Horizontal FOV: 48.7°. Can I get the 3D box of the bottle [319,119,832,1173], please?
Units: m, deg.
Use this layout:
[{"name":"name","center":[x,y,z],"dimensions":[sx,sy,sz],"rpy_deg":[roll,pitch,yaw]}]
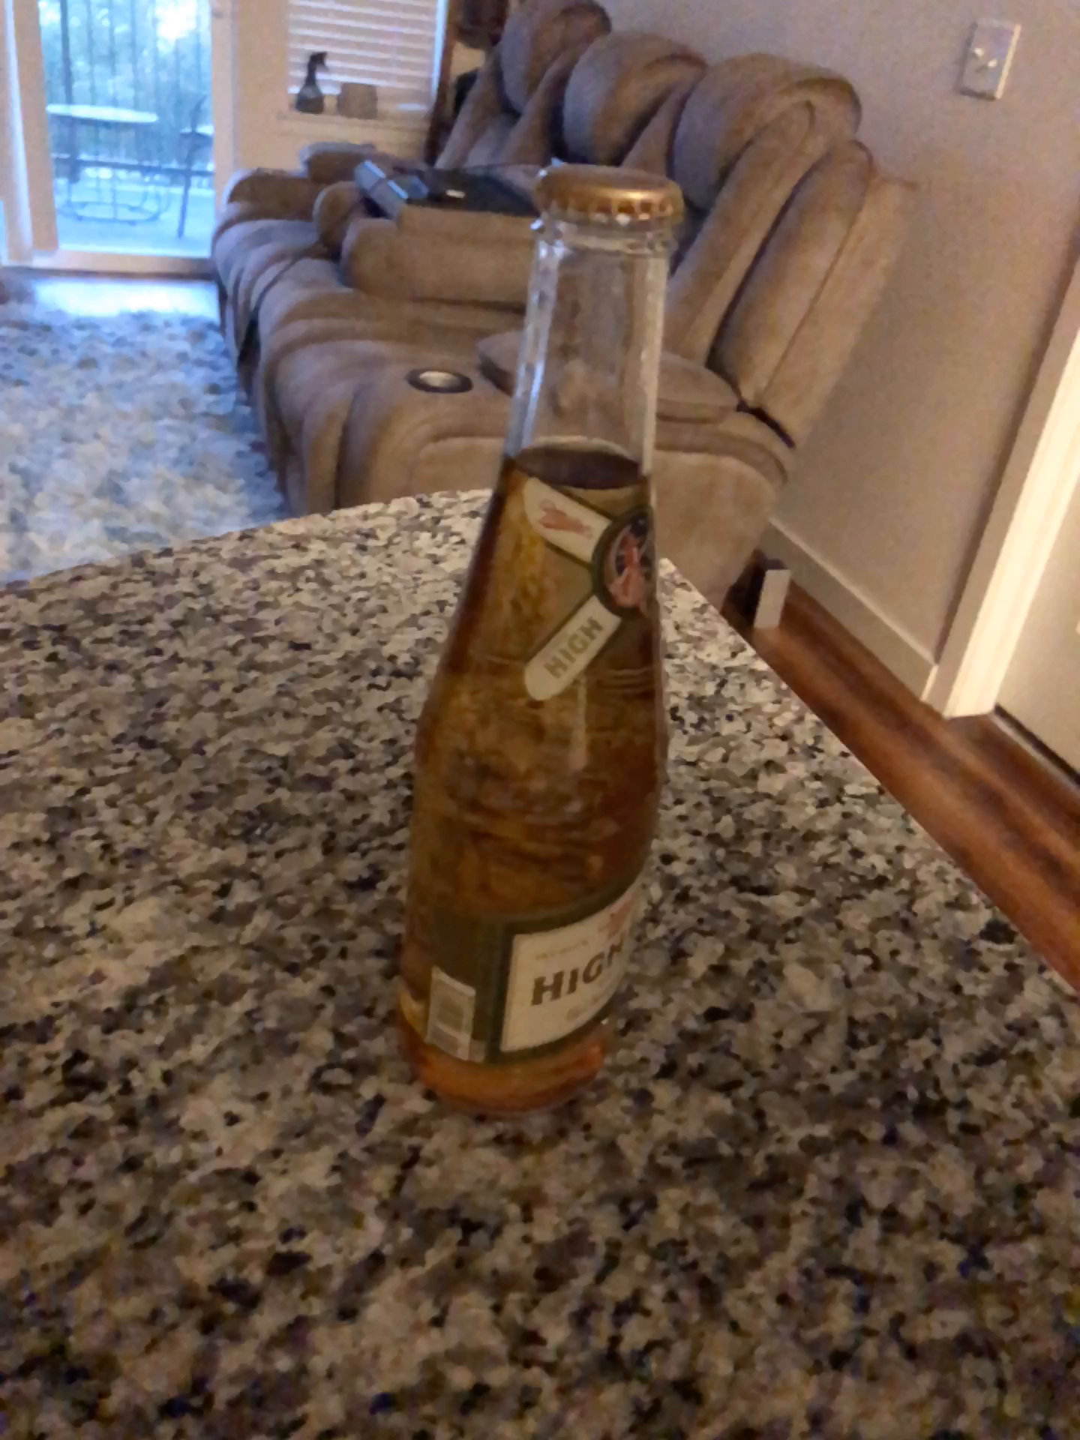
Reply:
[{"name":"bottle","center":[-0.002,-0.007,0.278],"dimensions":[0.070,0.229,0.060],"rpy_deg":[21,34,20]}]
